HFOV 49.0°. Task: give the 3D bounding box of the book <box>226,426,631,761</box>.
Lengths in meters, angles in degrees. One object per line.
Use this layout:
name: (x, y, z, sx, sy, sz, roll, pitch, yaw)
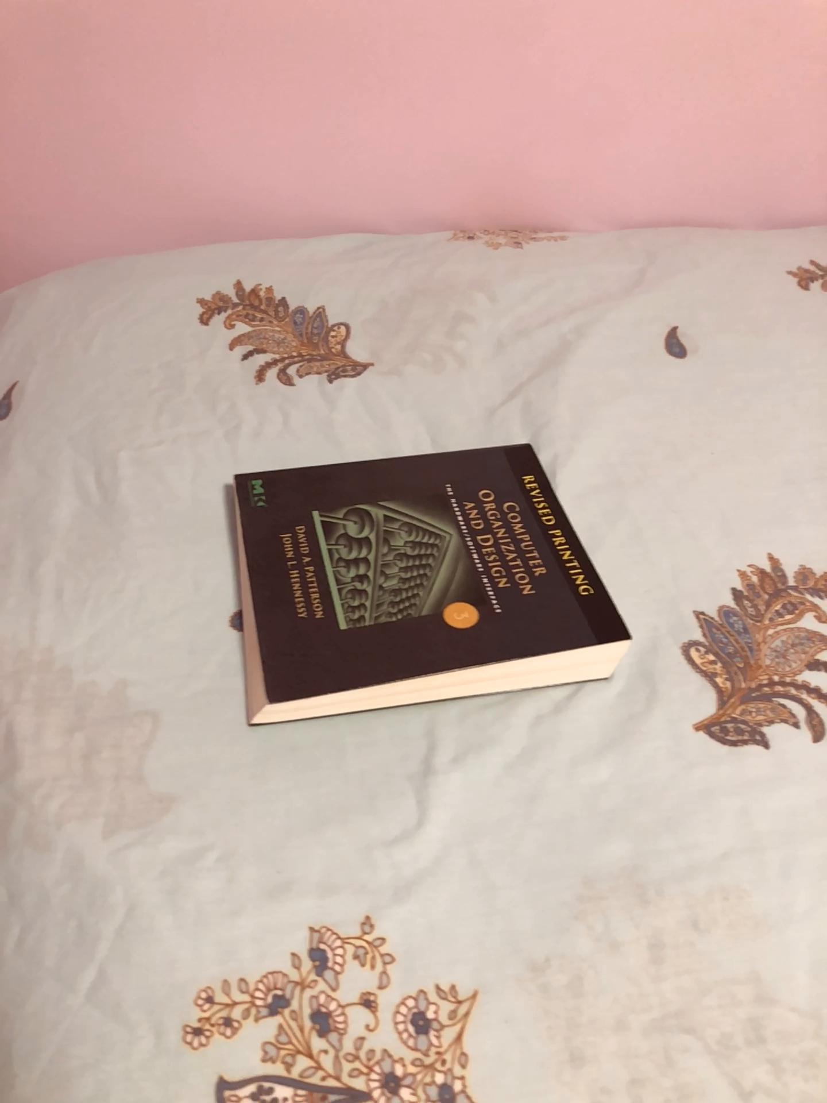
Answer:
book: (-0.002, 0.017, 0.623, 0.225, 0.073, 0.202, -7, 49, -12)
